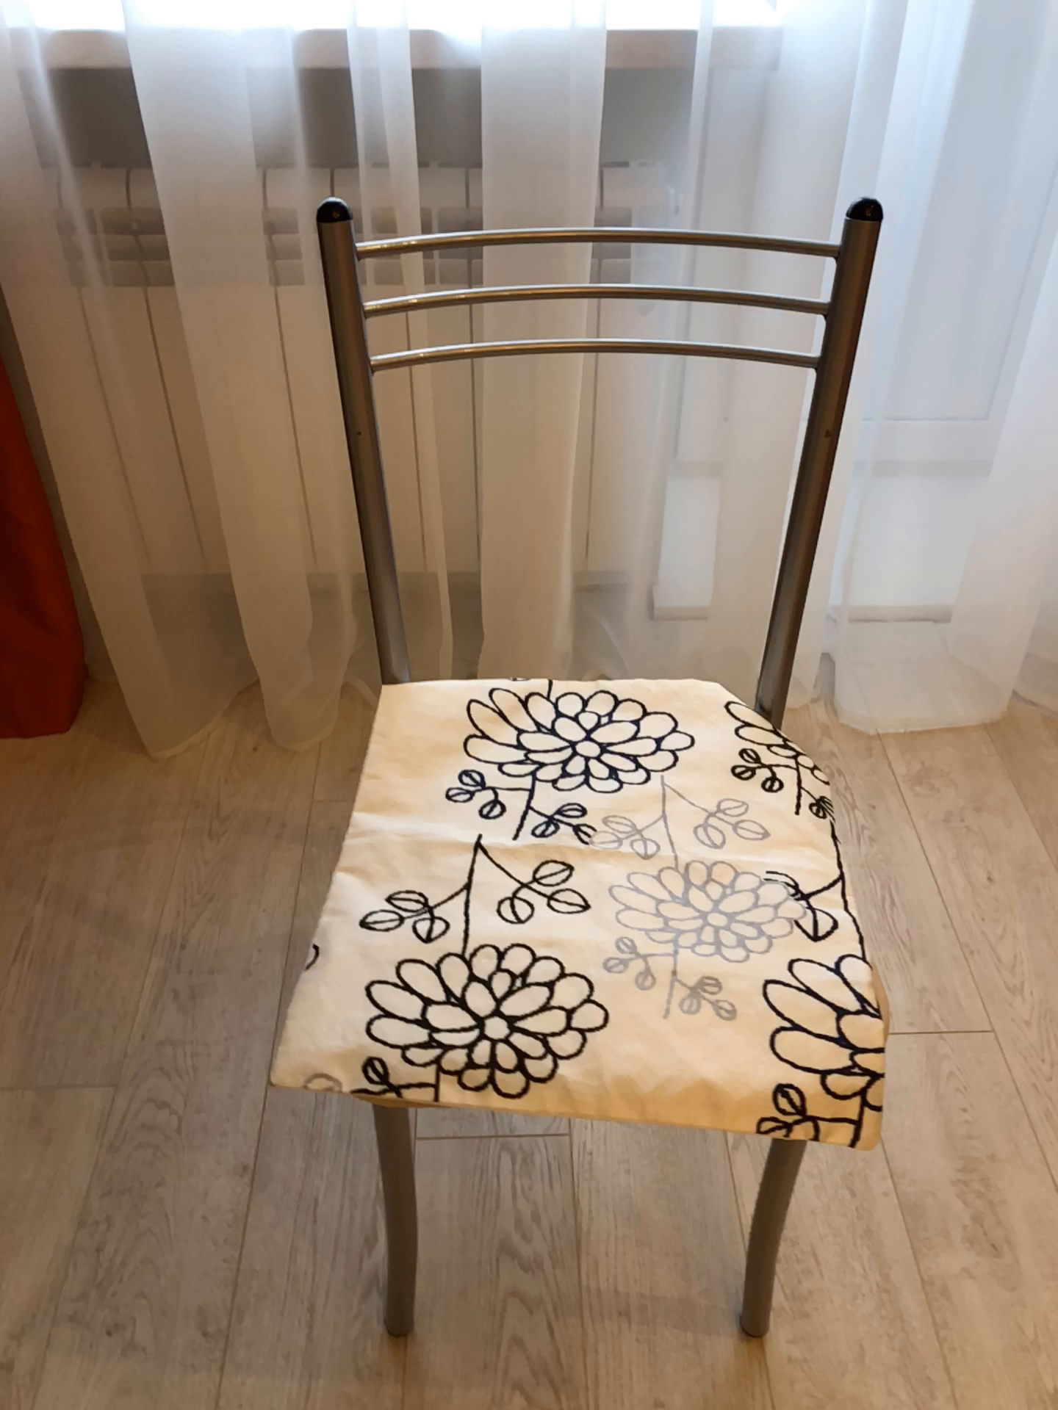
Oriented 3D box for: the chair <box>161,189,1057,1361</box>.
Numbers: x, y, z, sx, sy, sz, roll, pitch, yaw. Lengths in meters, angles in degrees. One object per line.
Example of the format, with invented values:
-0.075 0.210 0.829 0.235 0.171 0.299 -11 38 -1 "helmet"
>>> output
0.059 0.093 0.883 0.420 0.794 0.443 -1 40 -1 "chair"
